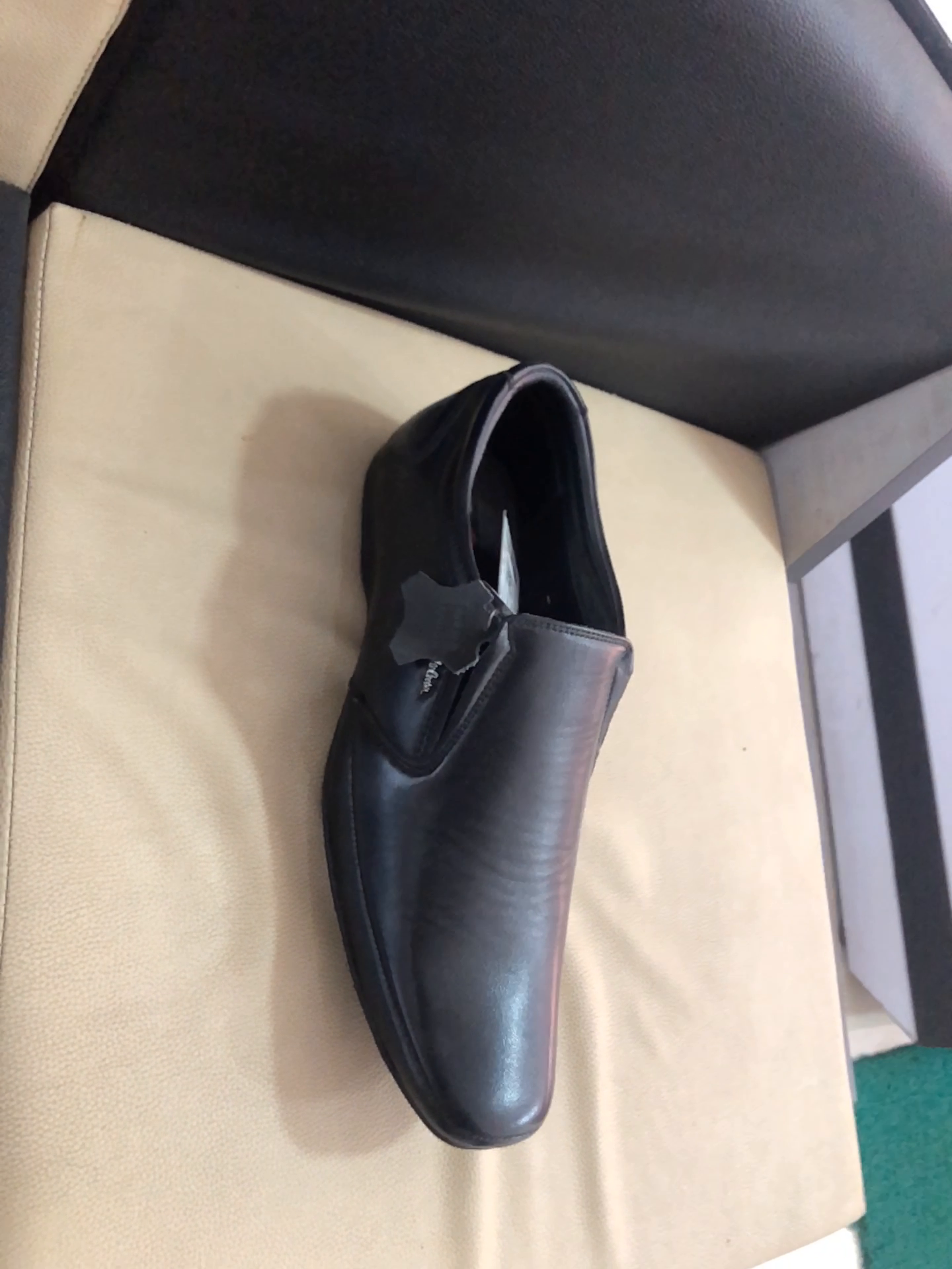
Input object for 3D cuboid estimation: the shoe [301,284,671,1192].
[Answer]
[{"bbox_3d":[0.001,0.035,0.430,0.101,0.089,0.320,12,69,-35],"label":"shoe"}]
